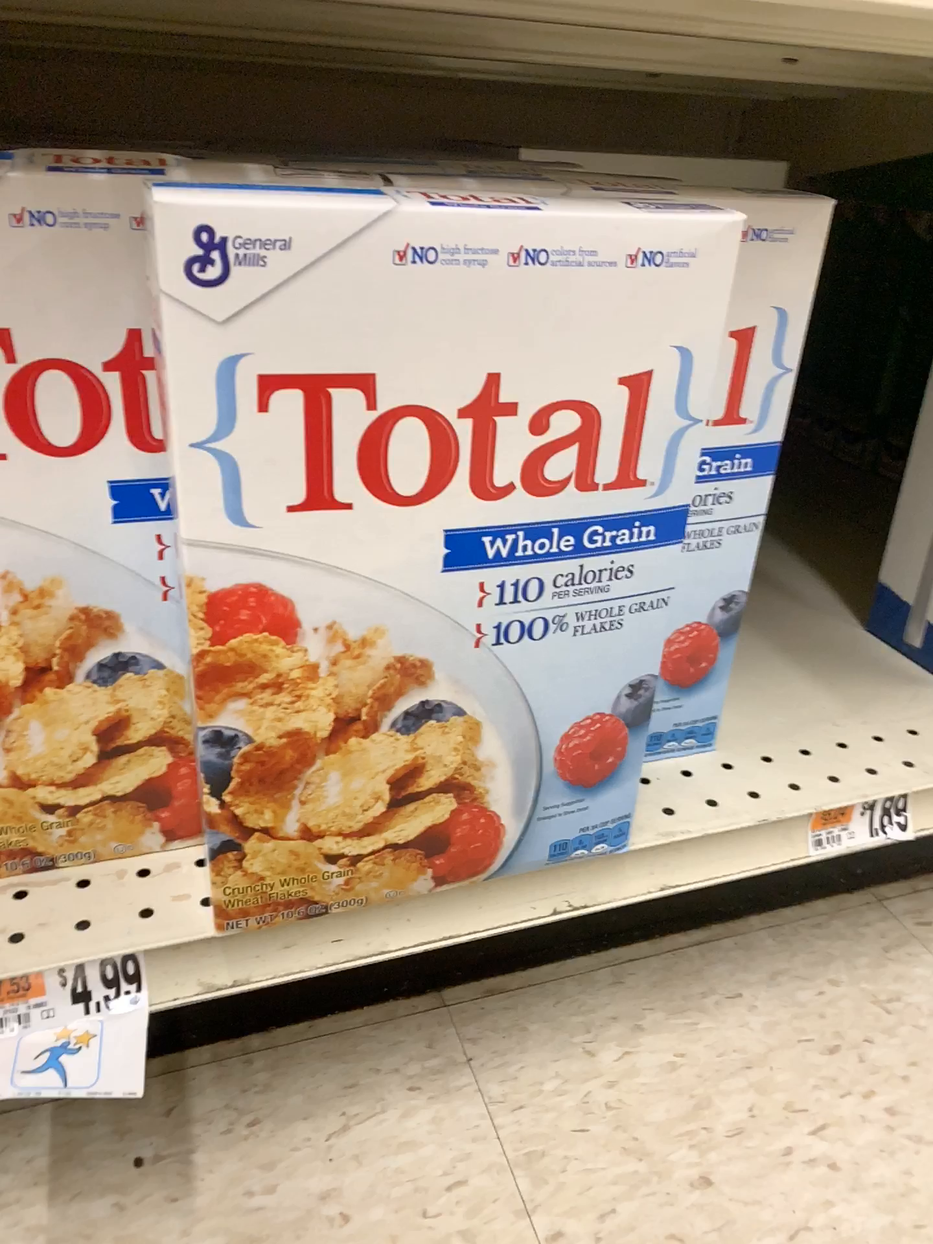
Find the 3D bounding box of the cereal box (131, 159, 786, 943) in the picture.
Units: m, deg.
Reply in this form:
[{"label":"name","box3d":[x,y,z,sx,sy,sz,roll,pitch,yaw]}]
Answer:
[{"label":"cereal box","box3d":[-0.007,-0.017,0.366,0.200,0.278,0.050,-6,30,-18]}]
